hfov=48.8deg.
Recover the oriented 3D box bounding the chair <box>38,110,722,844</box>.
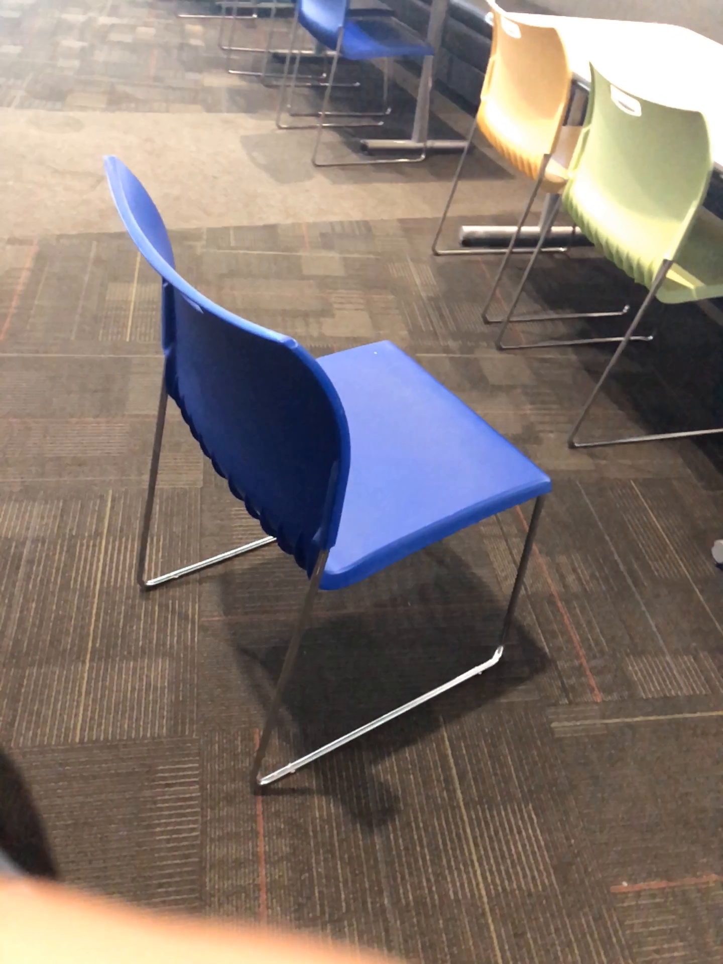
[{"bbox_3d":[-0.033,-0.041,1.175,0.591,0.756,0.582,-18,47,-28],"label":"chair"}]
